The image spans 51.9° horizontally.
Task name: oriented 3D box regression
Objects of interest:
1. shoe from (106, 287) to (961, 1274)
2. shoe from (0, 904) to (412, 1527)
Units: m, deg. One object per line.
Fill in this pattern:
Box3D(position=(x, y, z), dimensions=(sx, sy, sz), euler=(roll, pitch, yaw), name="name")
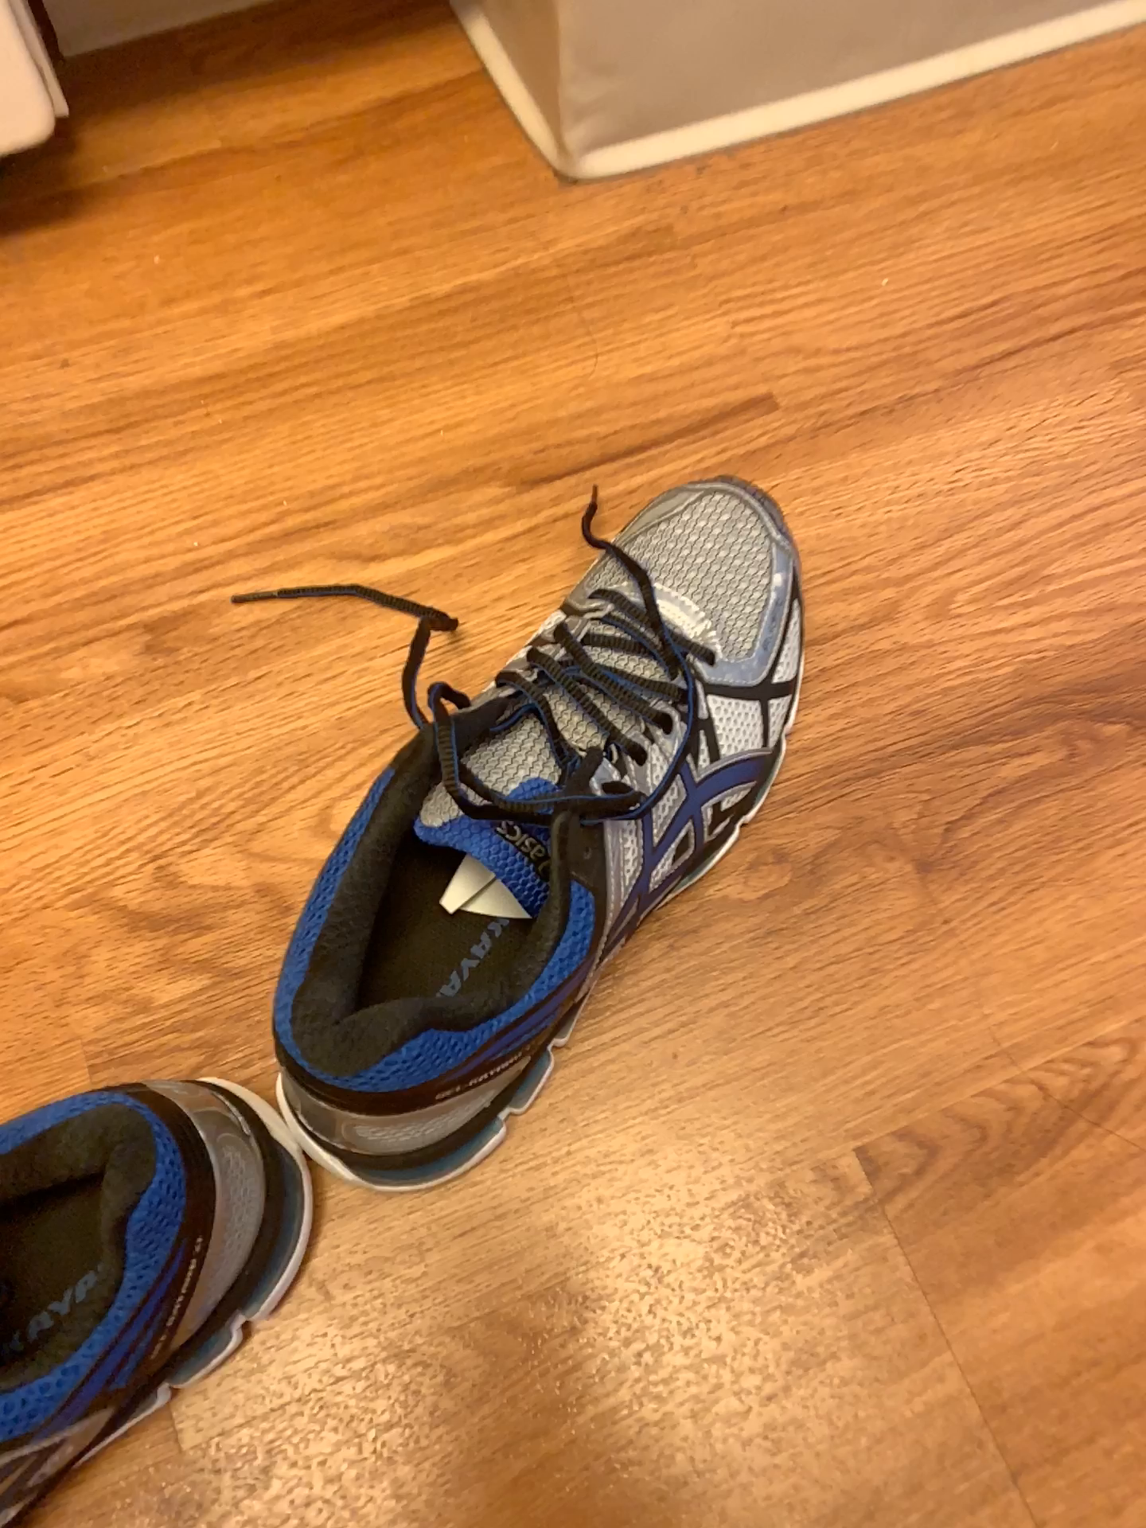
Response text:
Box3D(position=(0.003, -0.002, 0.431), dimensions=(0.120, 0.110, 0.330), euler=(29, 69, 13), name="shoe")
Box3D(position=(-0.208, 0.197, 0.332), dimensions=(0.300, 0.120, 0.120), euler=(-39, 71, -15), name="shoe")
